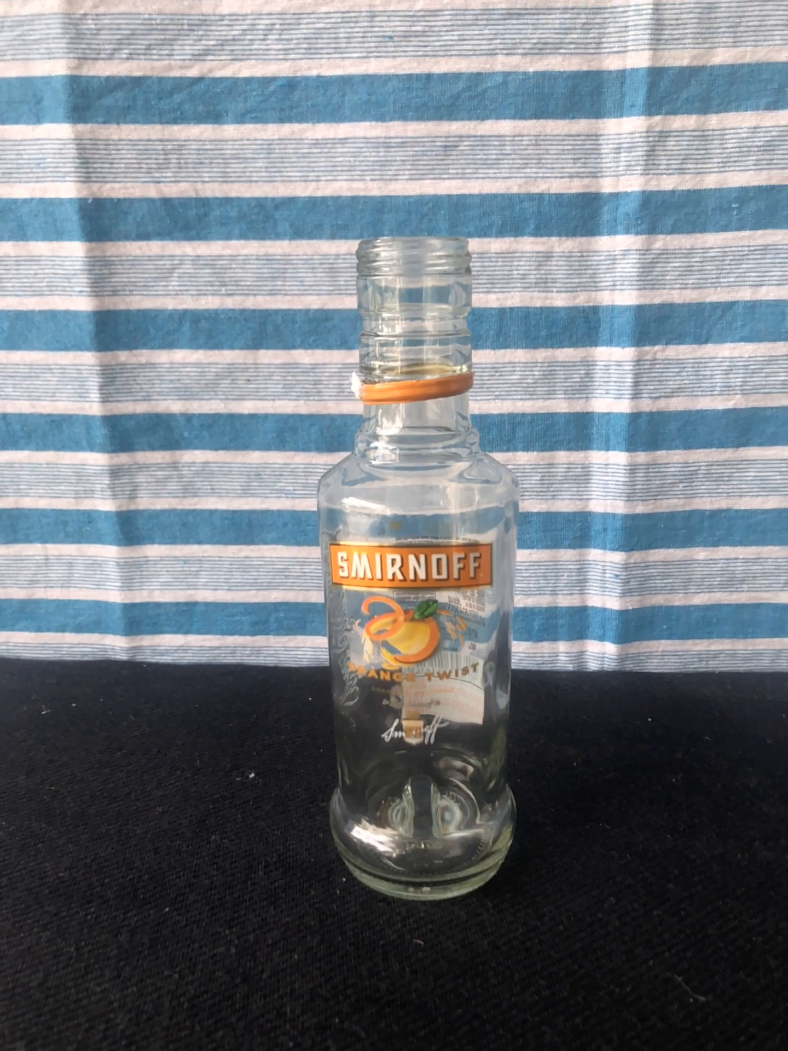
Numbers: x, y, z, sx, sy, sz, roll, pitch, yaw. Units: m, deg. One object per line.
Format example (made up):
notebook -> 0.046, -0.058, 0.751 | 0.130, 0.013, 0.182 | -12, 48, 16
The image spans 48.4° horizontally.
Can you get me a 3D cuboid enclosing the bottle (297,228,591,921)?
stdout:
bottle -> 0.013, 0.011, 0.232 | 0.060, 0.169, 0.050 | 6, 18, 14
